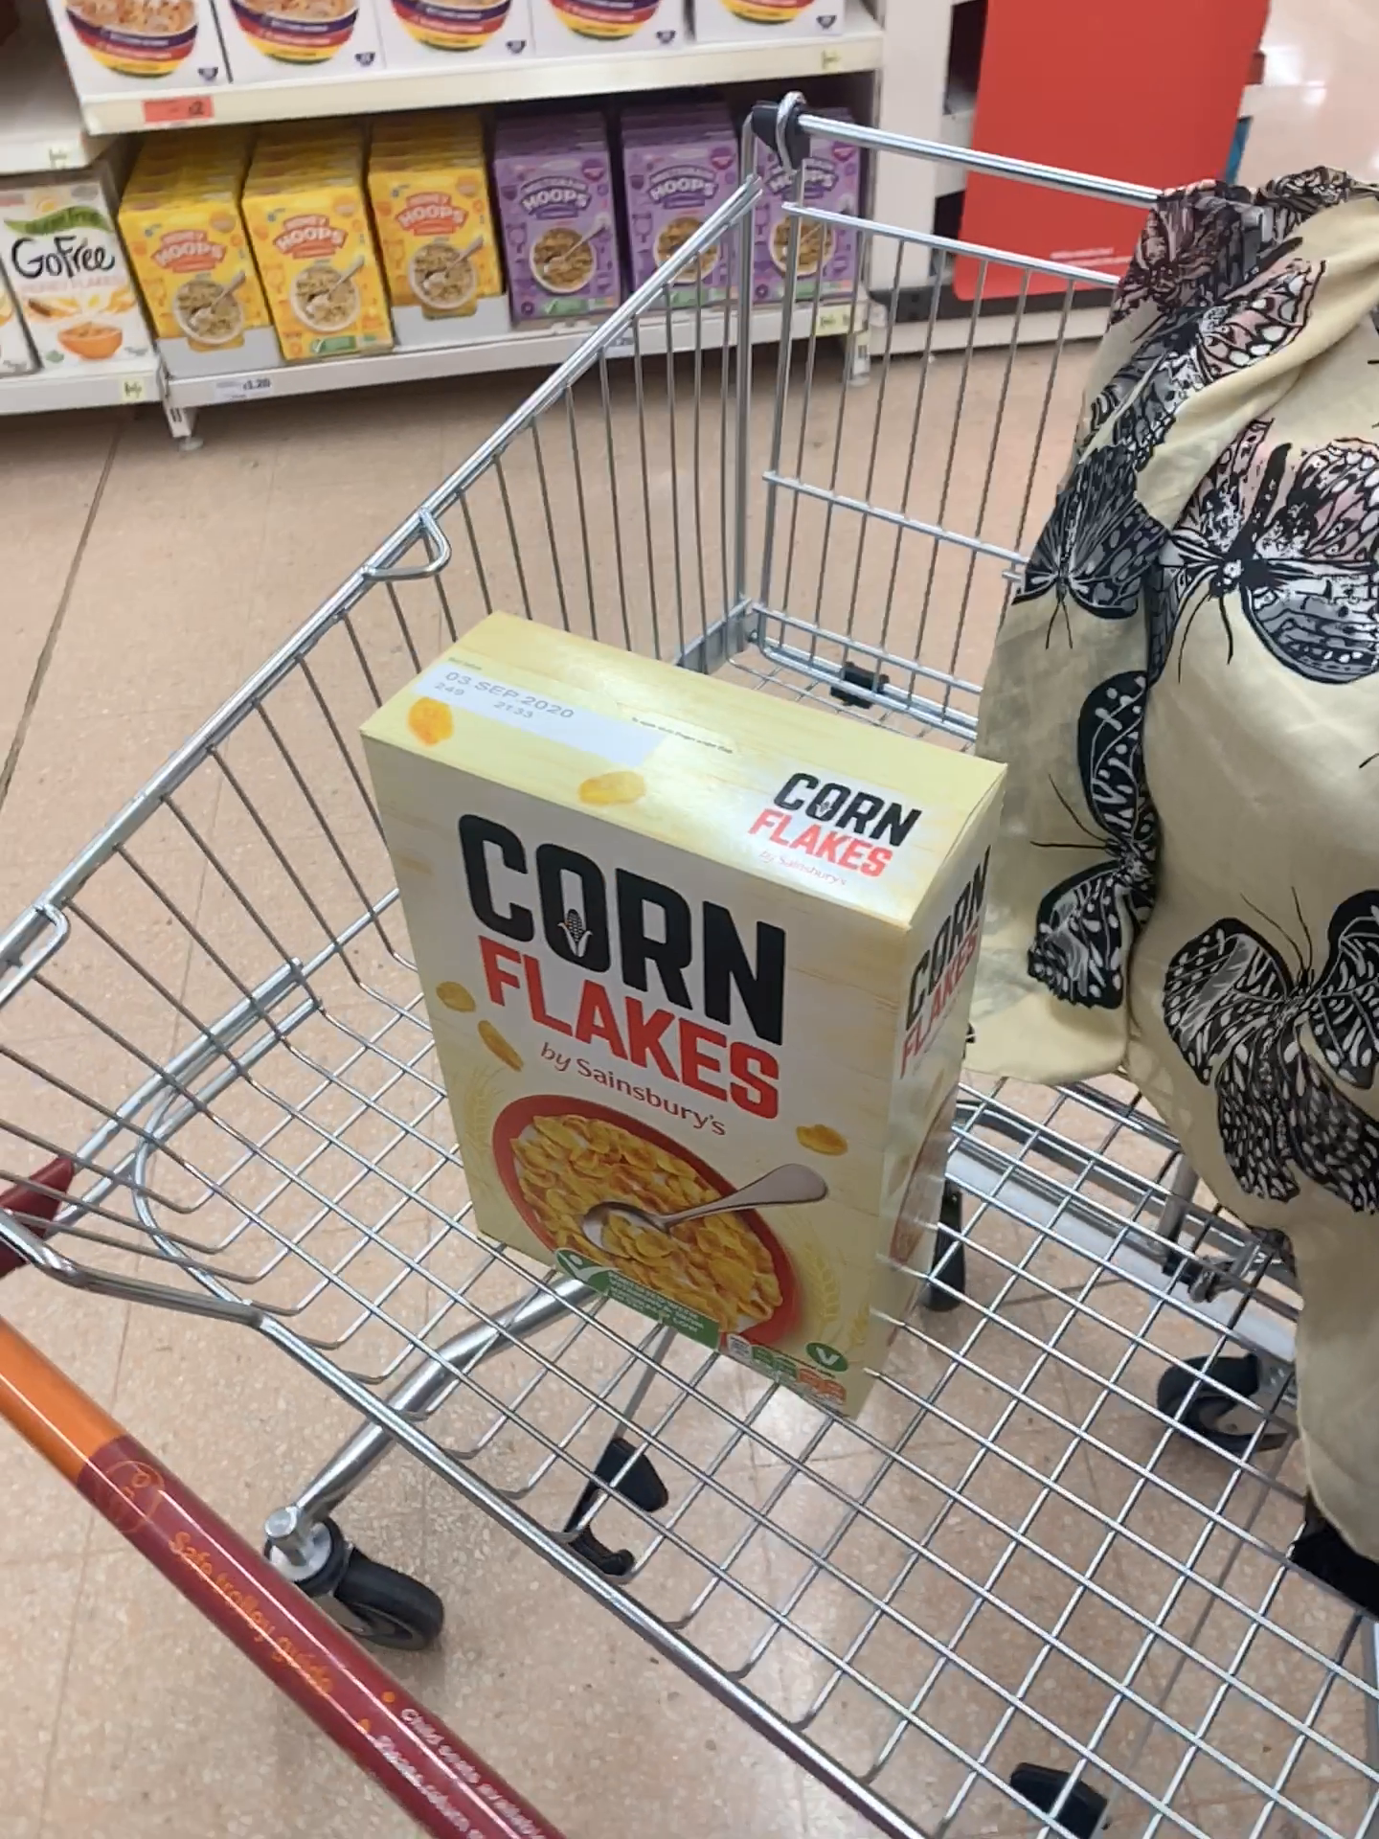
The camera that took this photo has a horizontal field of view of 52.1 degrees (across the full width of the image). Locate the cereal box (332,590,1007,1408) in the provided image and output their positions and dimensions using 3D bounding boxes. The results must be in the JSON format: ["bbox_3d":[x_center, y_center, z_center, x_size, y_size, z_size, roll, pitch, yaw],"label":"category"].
[{"bbox_3d":[-0.005,0.041,0.526,0.190,0.277,0.081,21,50,21],"label":"cereal box"}]
